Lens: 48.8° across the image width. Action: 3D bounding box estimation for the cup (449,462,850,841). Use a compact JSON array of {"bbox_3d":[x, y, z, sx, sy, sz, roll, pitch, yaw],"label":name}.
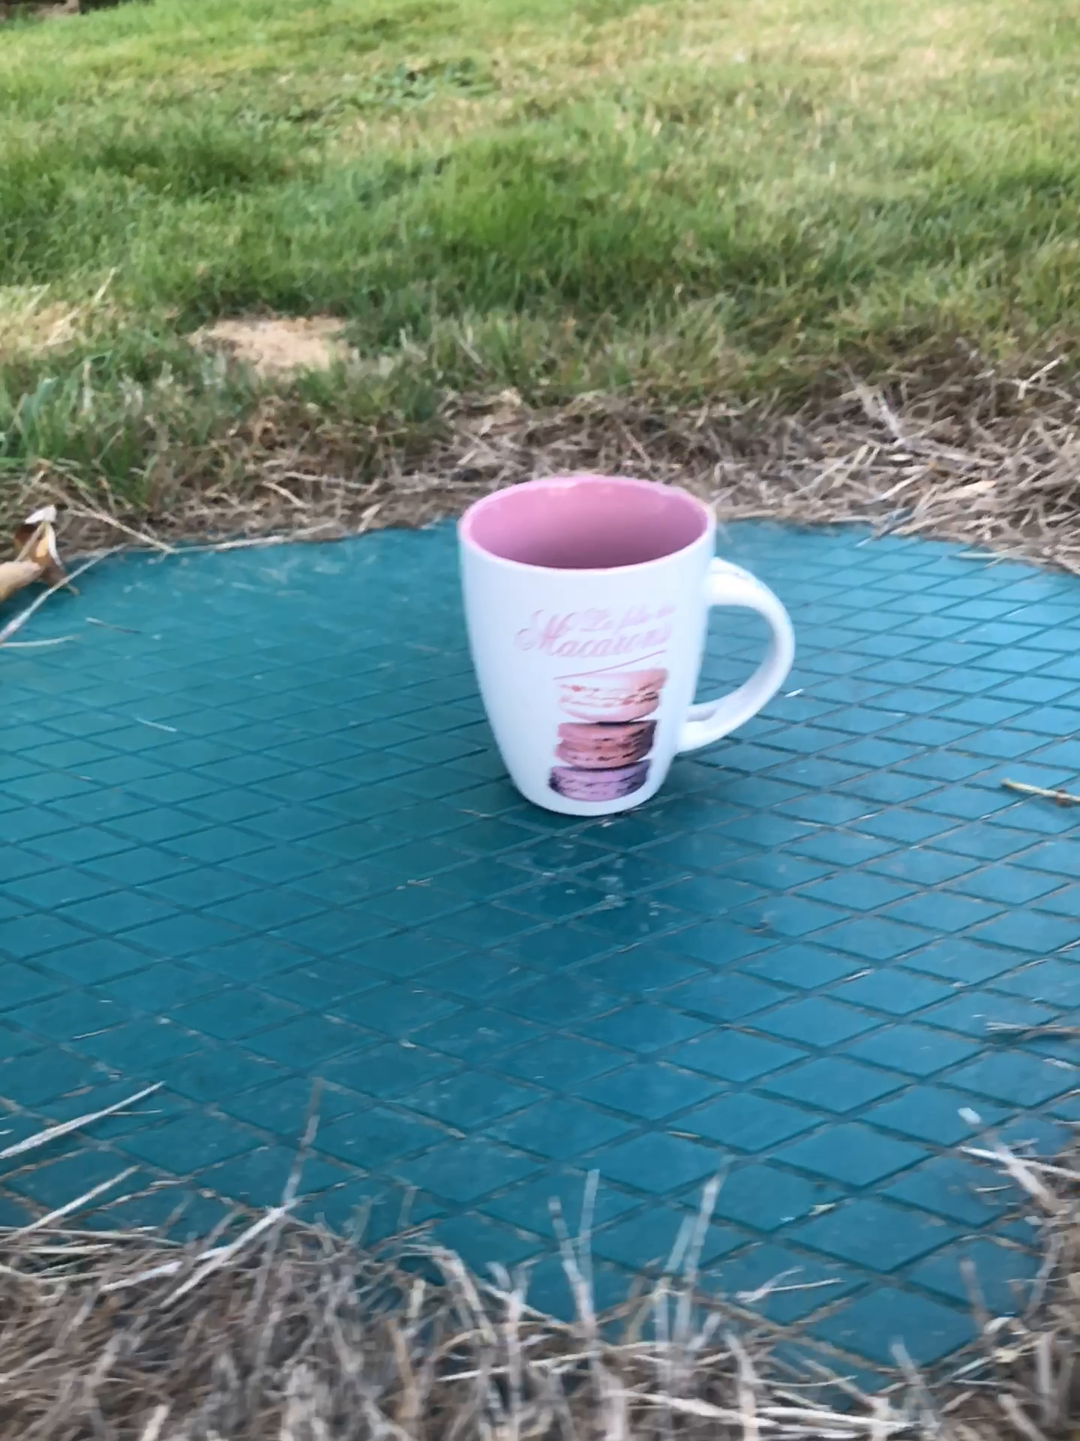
[{"bbox_3d":[0.034,-0.028,0.429,0.121,0.091,0.095,-7,30,-4],"label":"cup"}]
